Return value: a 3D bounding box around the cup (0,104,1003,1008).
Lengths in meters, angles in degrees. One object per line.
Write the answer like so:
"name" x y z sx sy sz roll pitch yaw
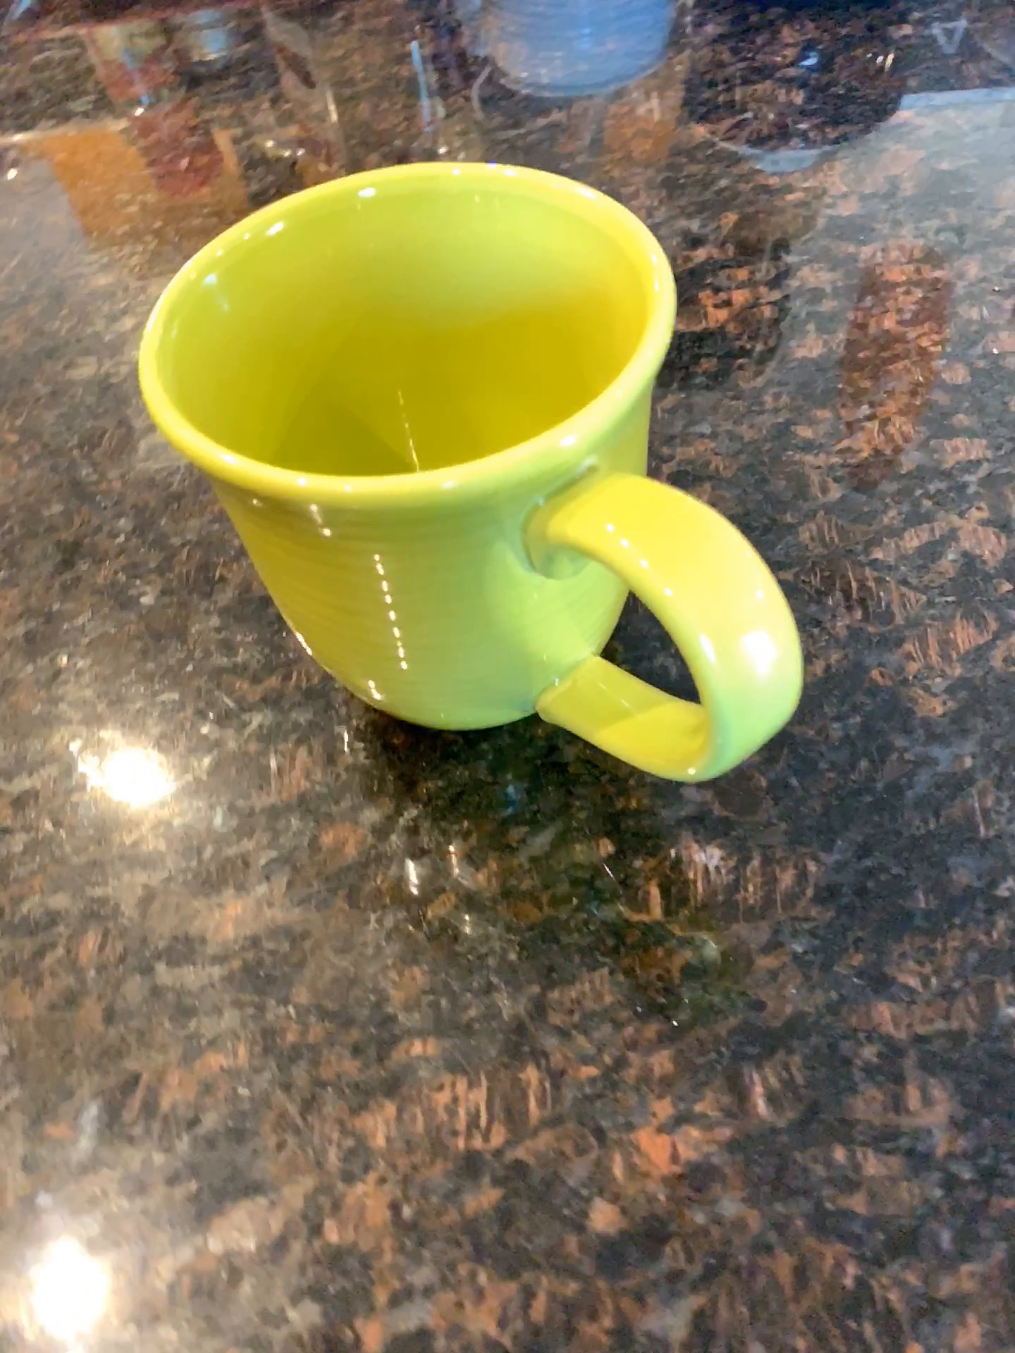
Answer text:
"cup" -0.007 -0.036 0.220 0.110 0.080 0.151 -38 58 -19
